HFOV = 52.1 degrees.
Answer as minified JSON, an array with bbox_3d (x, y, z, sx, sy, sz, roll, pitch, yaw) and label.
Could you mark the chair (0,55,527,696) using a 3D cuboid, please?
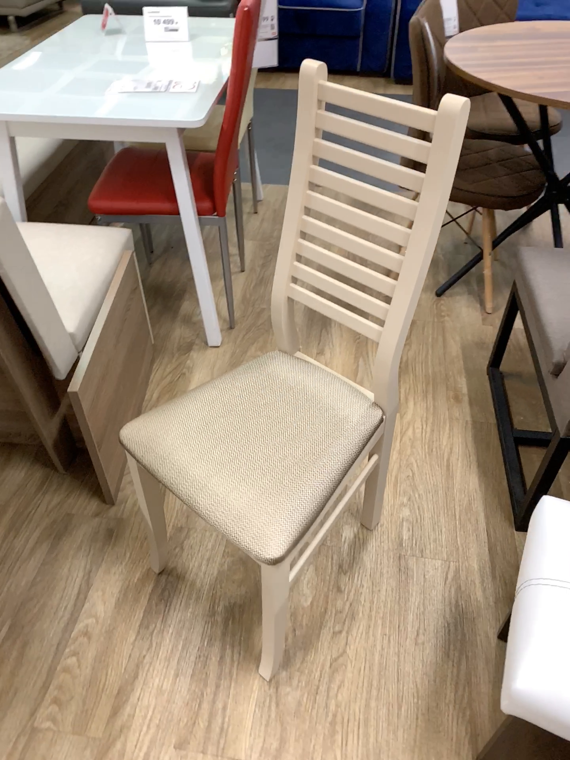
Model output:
[{"bbox_3d":[-0.012,0.032,1.095,0.441,0.985,0.552,31,51,29],"label":"chair"}]
